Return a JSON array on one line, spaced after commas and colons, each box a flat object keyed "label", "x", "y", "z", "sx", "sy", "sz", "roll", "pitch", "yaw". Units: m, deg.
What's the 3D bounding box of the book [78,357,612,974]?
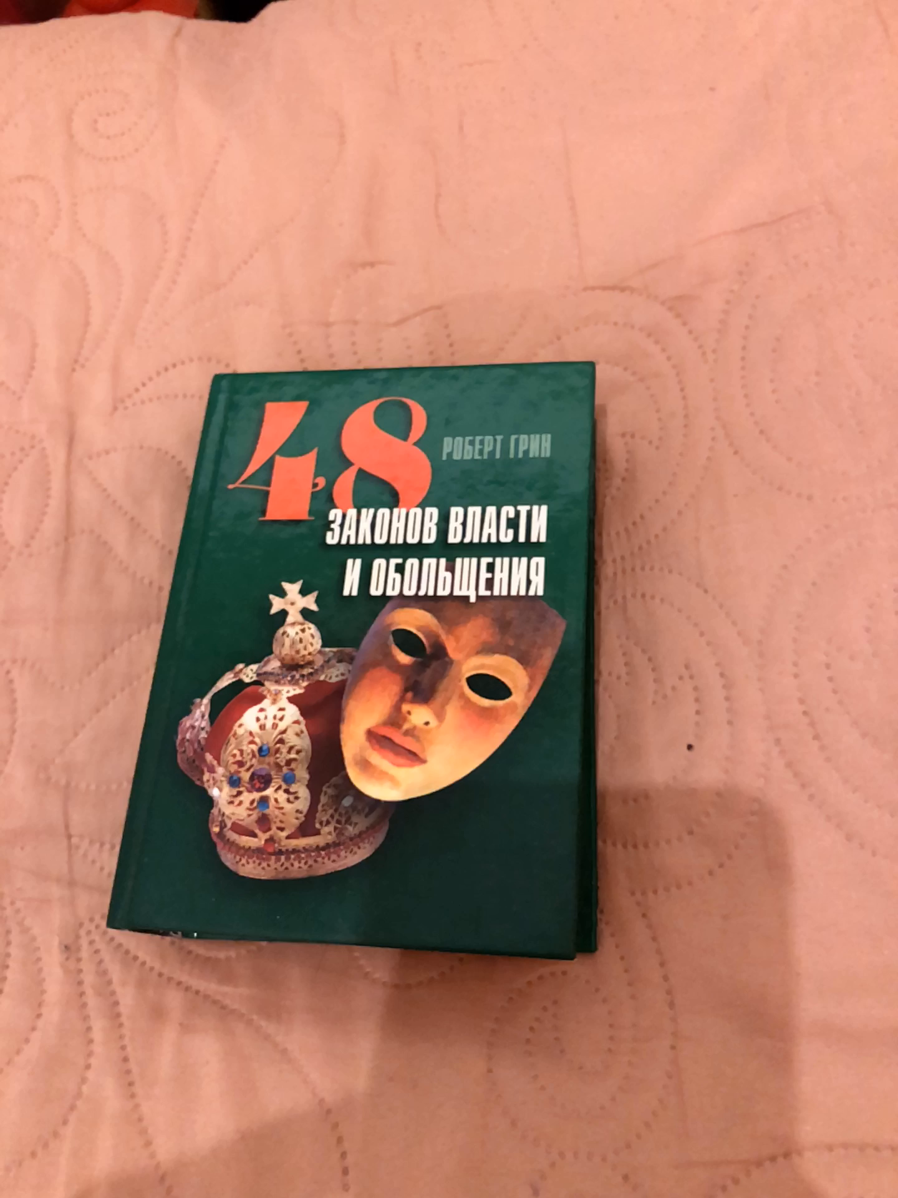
[{"label": "book", "x": -0.016, "y": 0.011, "z": 0.243, "sx": 0.110, "sy": 0.032, "sz": 0.143, "roll": 1, "pitch": 66, "yaw": 8}]
